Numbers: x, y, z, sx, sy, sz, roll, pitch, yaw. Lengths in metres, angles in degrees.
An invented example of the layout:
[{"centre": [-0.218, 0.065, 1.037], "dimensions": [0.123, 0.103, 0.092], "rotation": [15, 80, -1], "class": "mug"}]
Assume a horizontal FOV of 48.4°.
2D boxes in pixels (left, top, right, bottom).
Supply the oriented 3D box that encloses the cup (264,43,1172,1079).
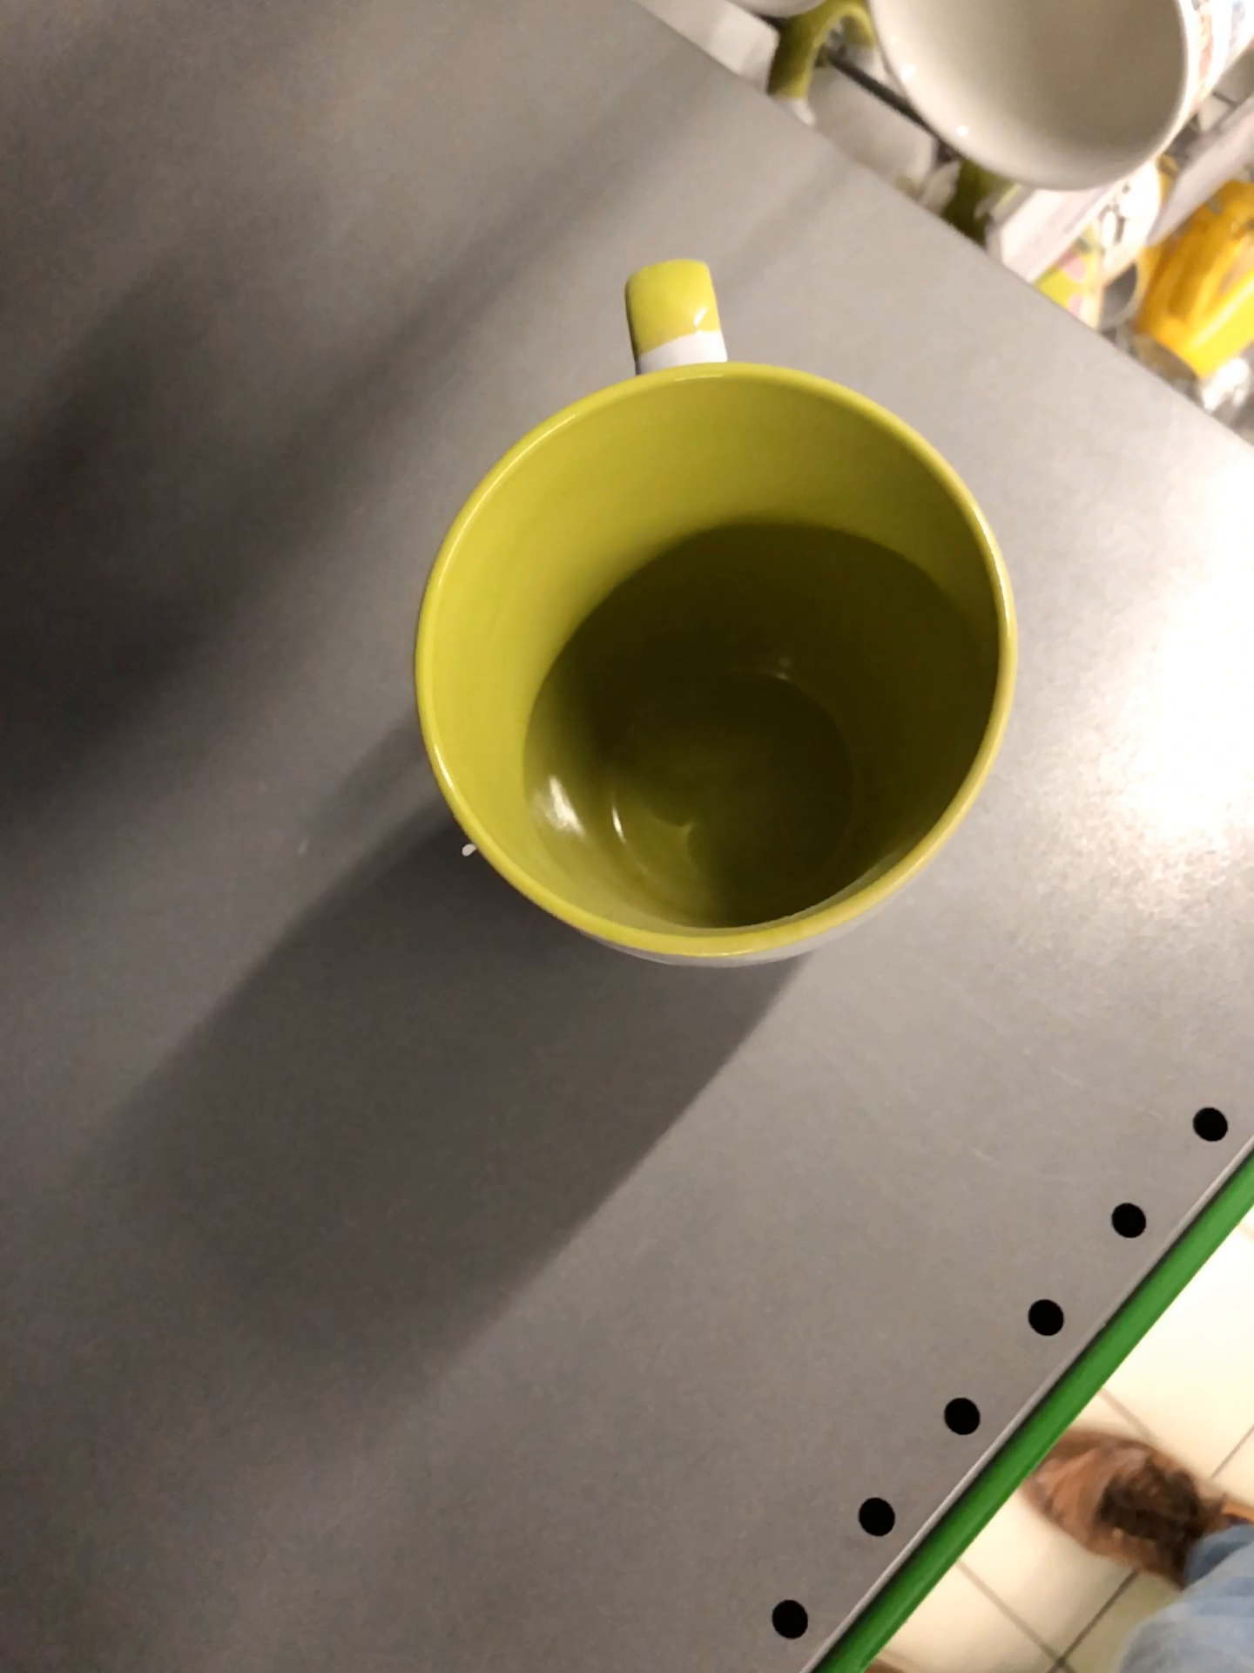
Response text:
[{"centre": [0.012, -0.034, 0.237], "dimensions": [0.094, 0.096, 0.126], "rotation": [-15, 78, 2], "class": "cup"}]
